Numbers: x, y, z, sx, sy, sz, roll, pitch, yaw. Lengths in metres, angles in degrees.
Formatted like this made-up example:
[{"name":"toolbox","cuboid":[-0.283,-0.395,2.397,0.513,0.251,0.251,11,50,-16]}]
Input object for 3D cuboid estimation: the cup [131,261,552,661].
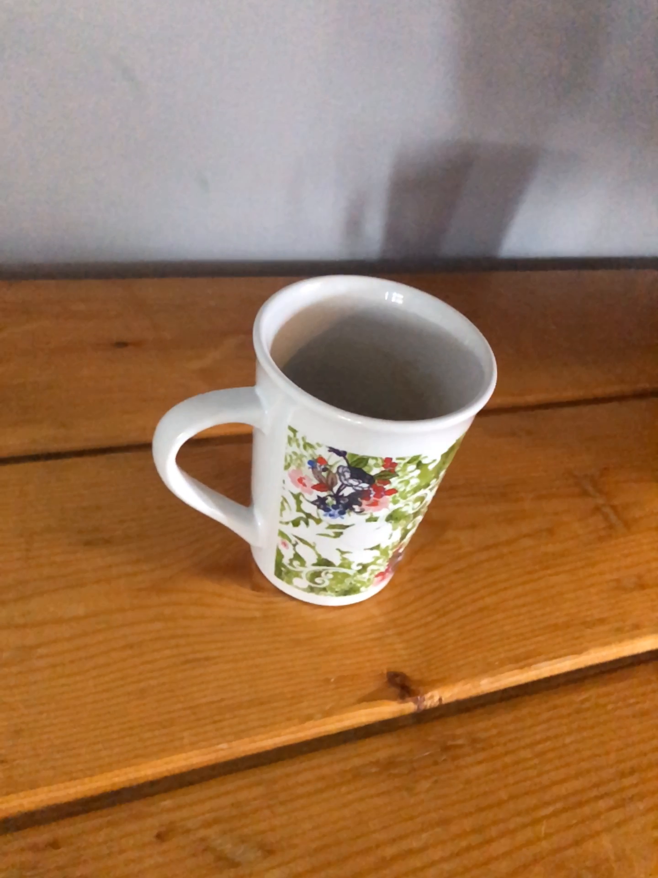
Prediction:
[{"name":"cup","cuboid":[-0.006,0.006,0.309,0.130,0.120,0.090,-10,50,-24]}]
